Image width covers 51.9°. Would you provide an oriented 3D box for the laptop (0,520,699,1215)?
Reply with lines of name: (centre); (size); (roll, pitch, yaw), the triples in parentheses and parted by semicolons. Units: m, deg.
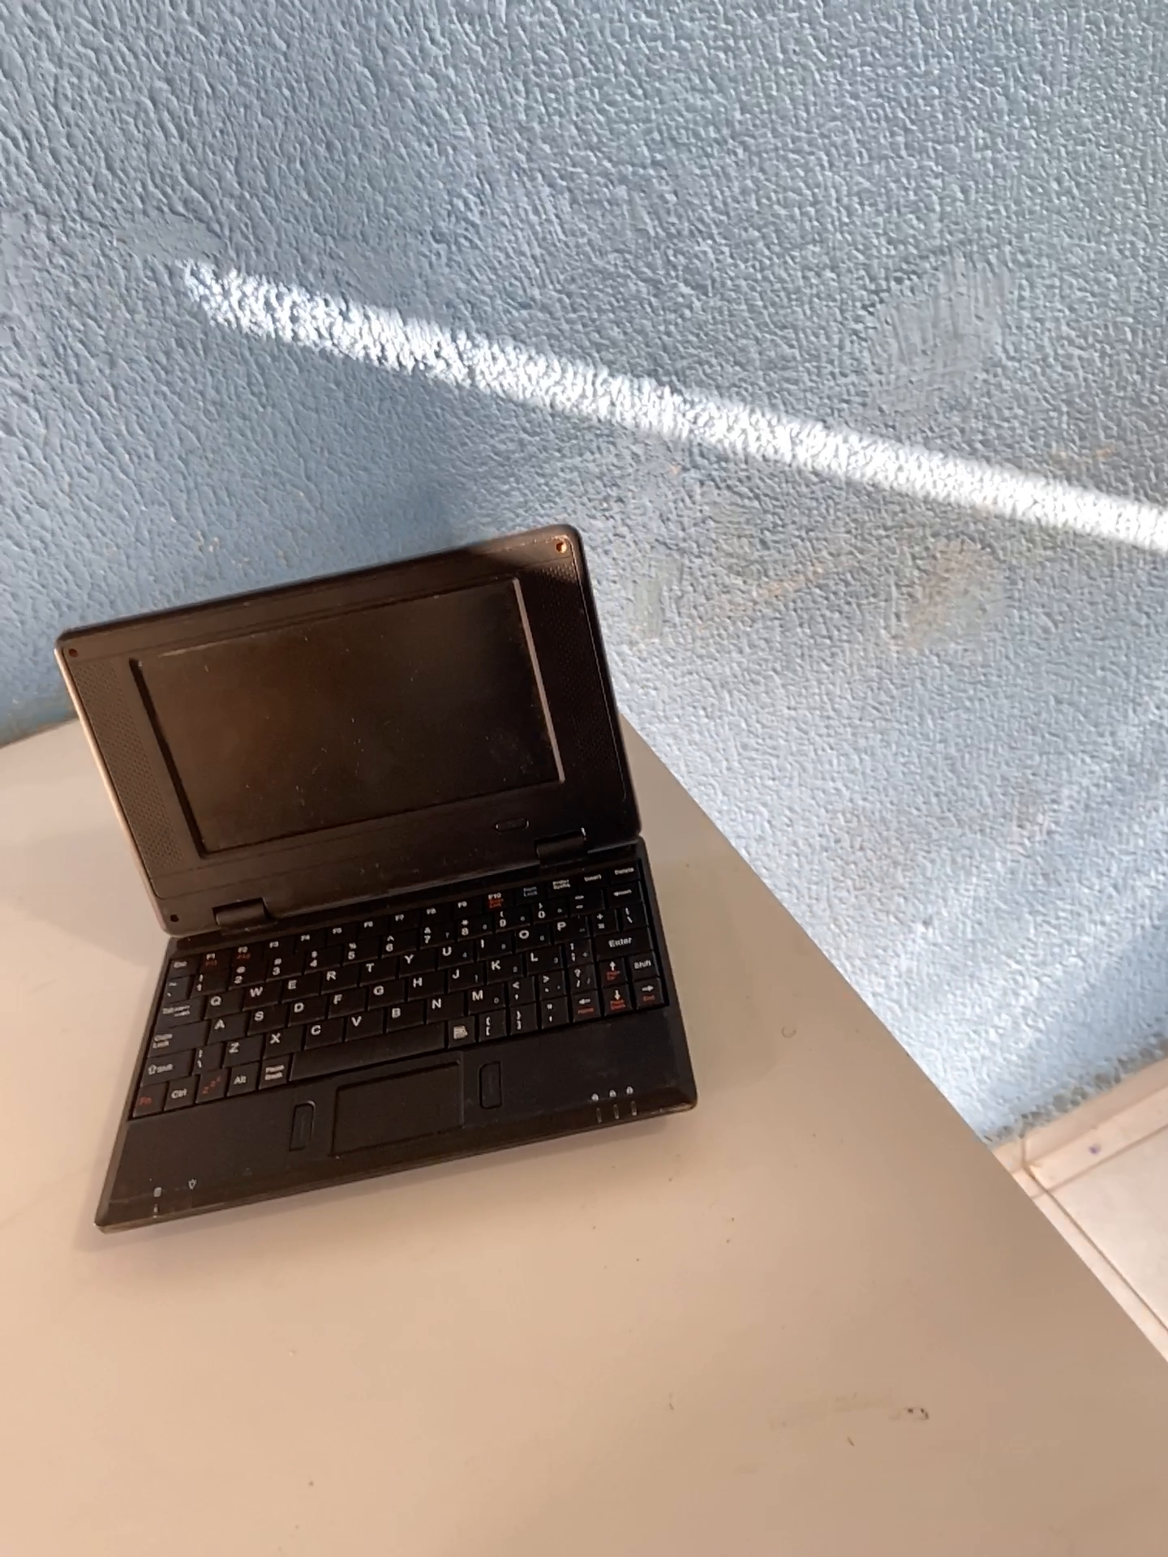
laptop: (-0.088, 0.026, 0.453); (0.216, 0.137, 0.180); (-12, 38, 2)
